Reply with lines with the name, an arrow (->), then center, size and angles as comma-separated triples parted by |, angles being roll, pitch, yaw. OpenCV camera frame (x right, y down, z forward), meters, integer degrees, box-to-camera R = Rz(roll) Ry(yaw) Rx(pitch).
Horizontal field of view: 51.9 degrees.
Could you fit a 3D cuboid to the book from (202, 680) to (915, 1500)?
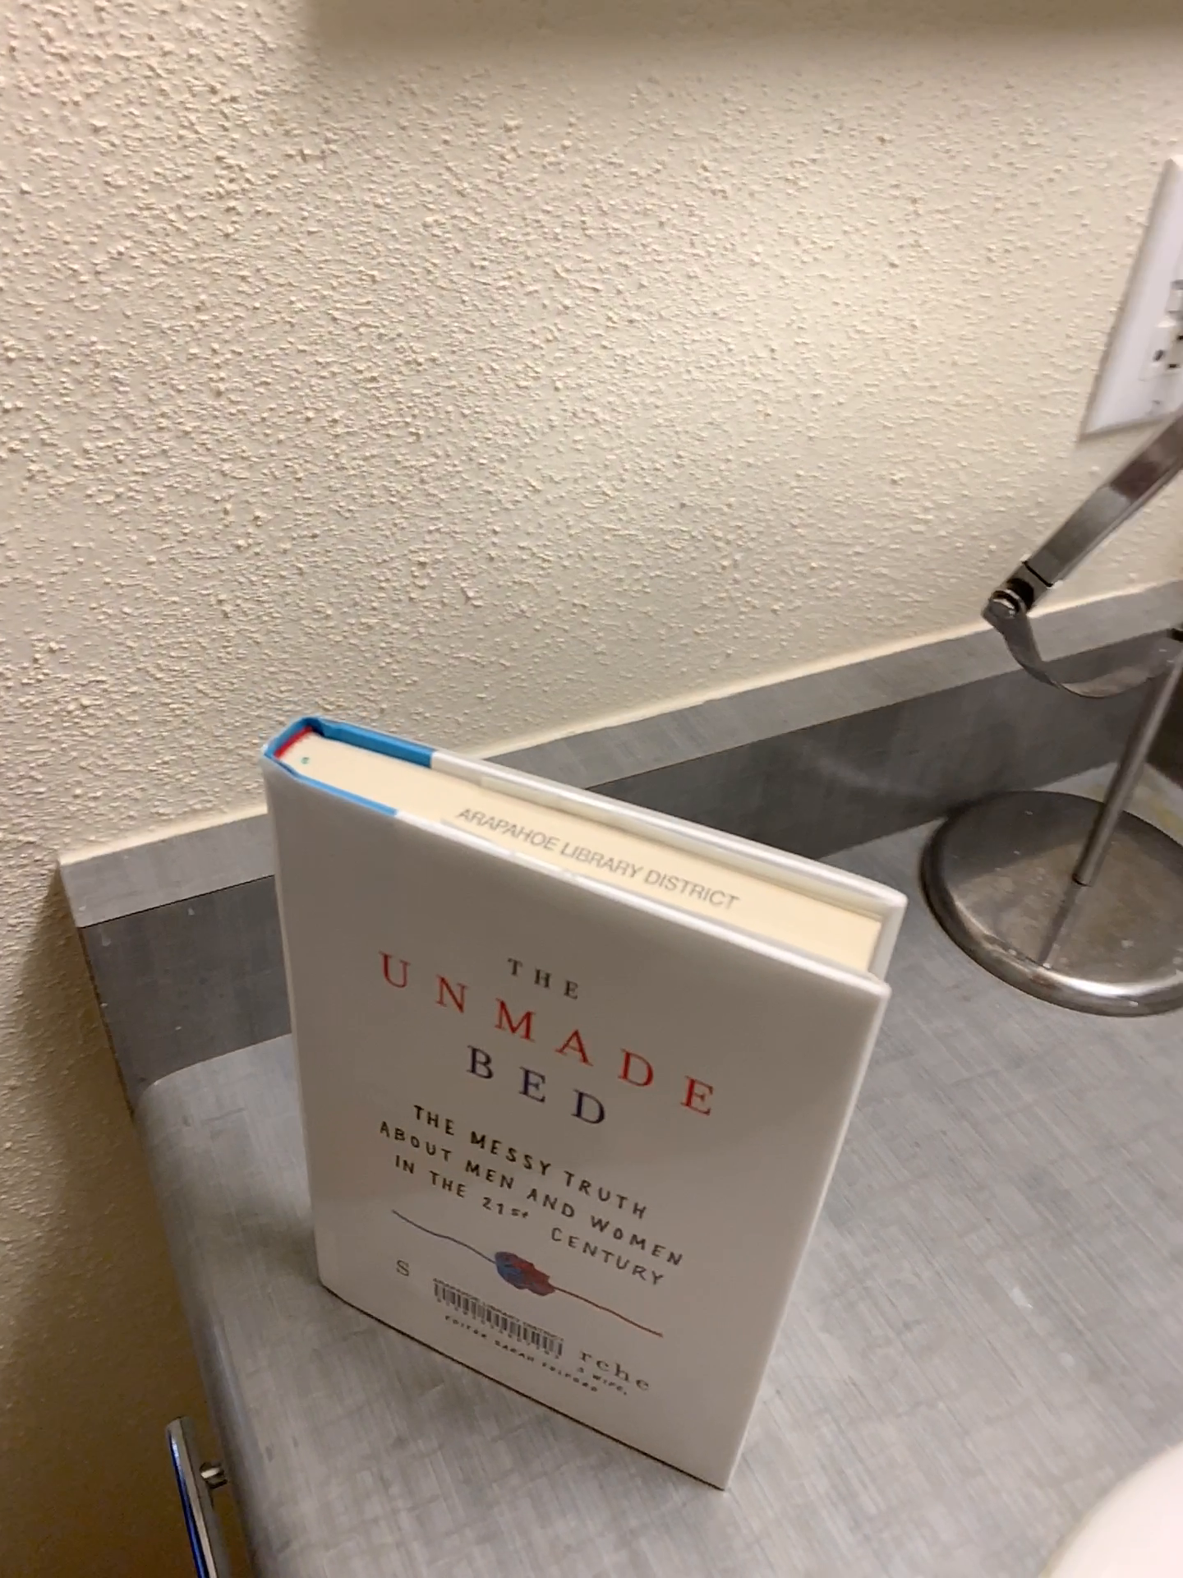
book -> -0.017, 0.090, 0.323 | 0.152, 0.214, 0.033 | 19, 40, 17
